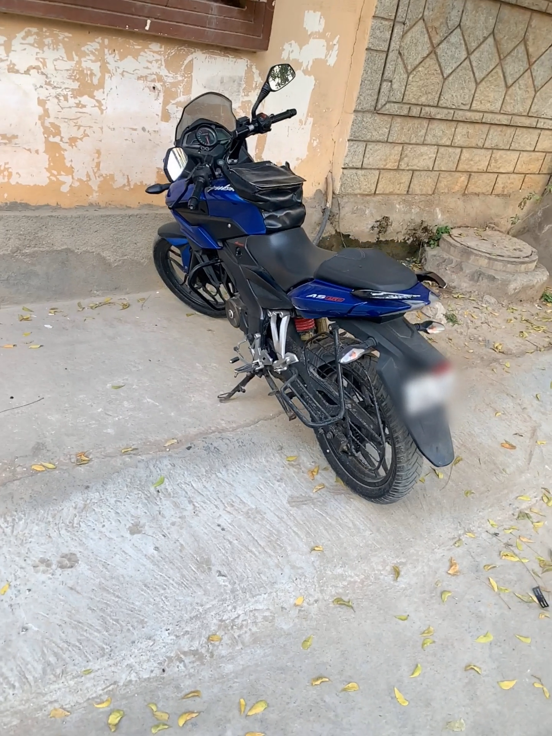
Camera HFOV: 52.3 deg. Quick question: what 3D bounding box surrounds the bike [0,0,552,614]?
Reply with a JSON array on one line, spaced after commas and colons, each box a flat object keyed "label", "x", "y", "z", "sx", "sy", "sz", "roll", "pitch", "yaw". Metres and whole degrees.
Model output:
[{"label": "bike", "x": -0.183, "y": -0.361, "z": 2.001, "sx": 0.955, "sy": 1.218, "sz": 1.570, "roll": -17, "pitch": 47, "yaw": -37}]
